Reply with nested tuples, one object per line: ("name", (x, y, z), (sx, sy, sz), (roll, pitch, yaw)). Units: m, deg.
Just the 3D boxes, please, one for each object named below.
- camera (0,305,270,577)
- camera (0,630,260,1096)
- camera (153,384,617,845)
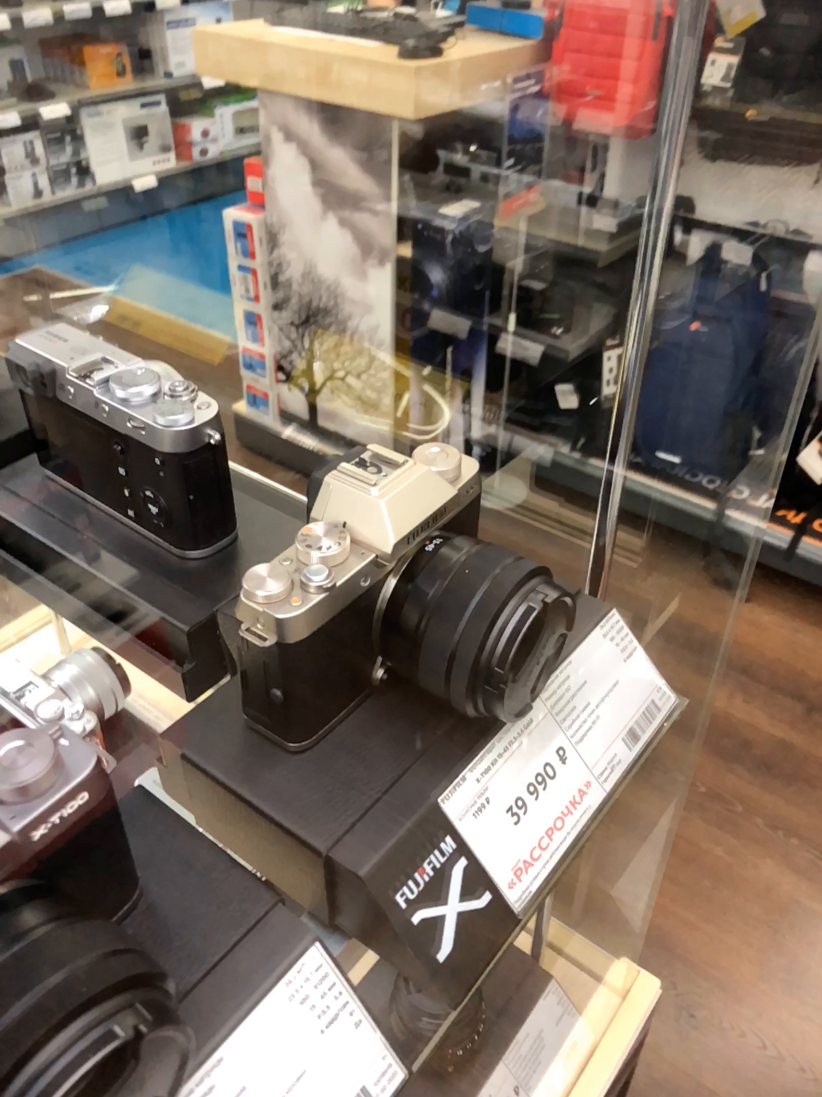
("camera", (-0.137, -0.056, 0.439), (0.132, 0.076, 0.055), (27, 44, 30))
("camera", (-0.126, 0.110, 0.214), (0.102, 0.086, 0.141), (25, 43, 28))
("camera", (-0.004, 0.013, 0.335), (0.100, 0.080, 0.132), (23, 43, 27))
